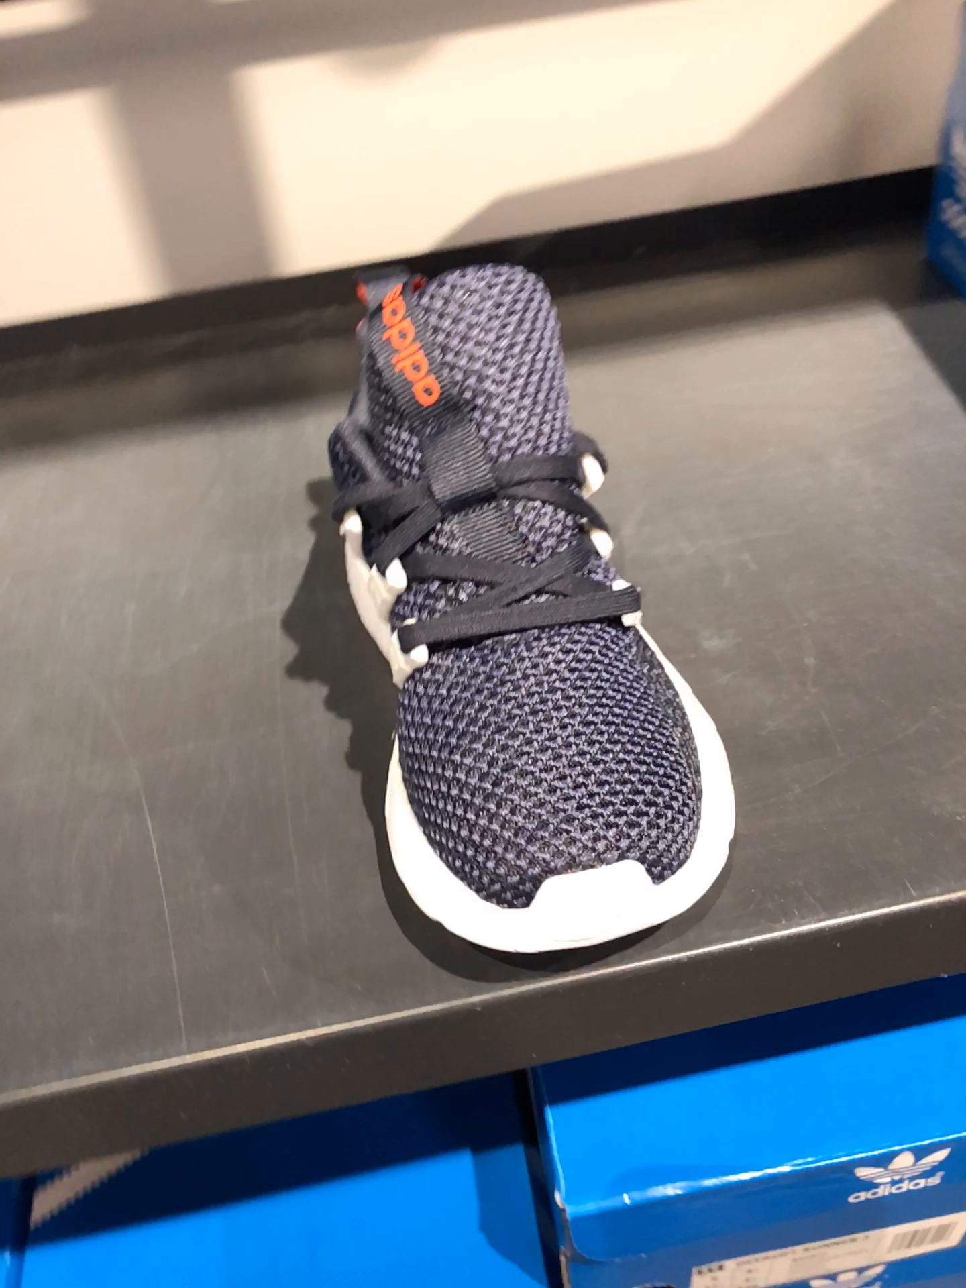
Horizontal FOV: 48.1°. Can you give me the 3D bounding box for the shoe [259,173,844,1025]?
[{"bbox_3d":[0.001,-0.029,0.281,0.090,0.110,0.201,-11,40,-4],"label":"shoe"}]
